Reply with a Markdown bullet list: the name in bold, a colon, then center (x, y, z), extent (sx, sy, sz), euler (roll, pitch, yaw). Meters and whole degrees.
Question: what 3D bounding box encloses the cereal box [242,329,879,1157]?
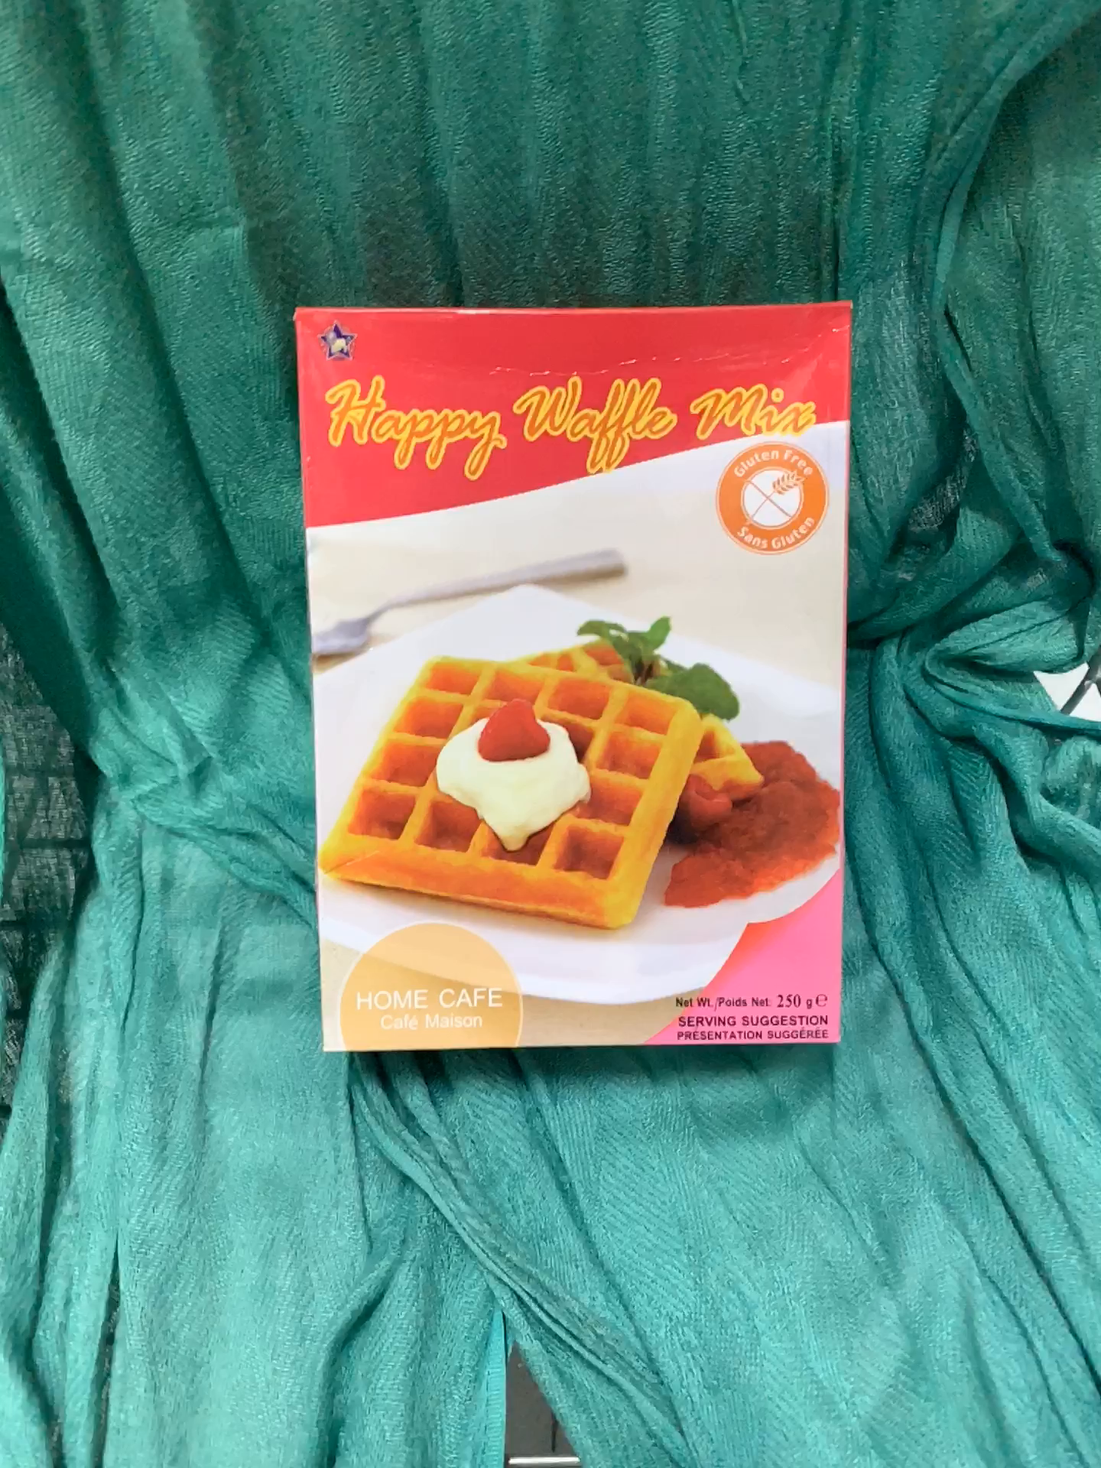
- **cereal box**: center (0.003, 0.003, 0.269), extent (0.130, 0.180, 0.050), euler (0, 9, 1)
